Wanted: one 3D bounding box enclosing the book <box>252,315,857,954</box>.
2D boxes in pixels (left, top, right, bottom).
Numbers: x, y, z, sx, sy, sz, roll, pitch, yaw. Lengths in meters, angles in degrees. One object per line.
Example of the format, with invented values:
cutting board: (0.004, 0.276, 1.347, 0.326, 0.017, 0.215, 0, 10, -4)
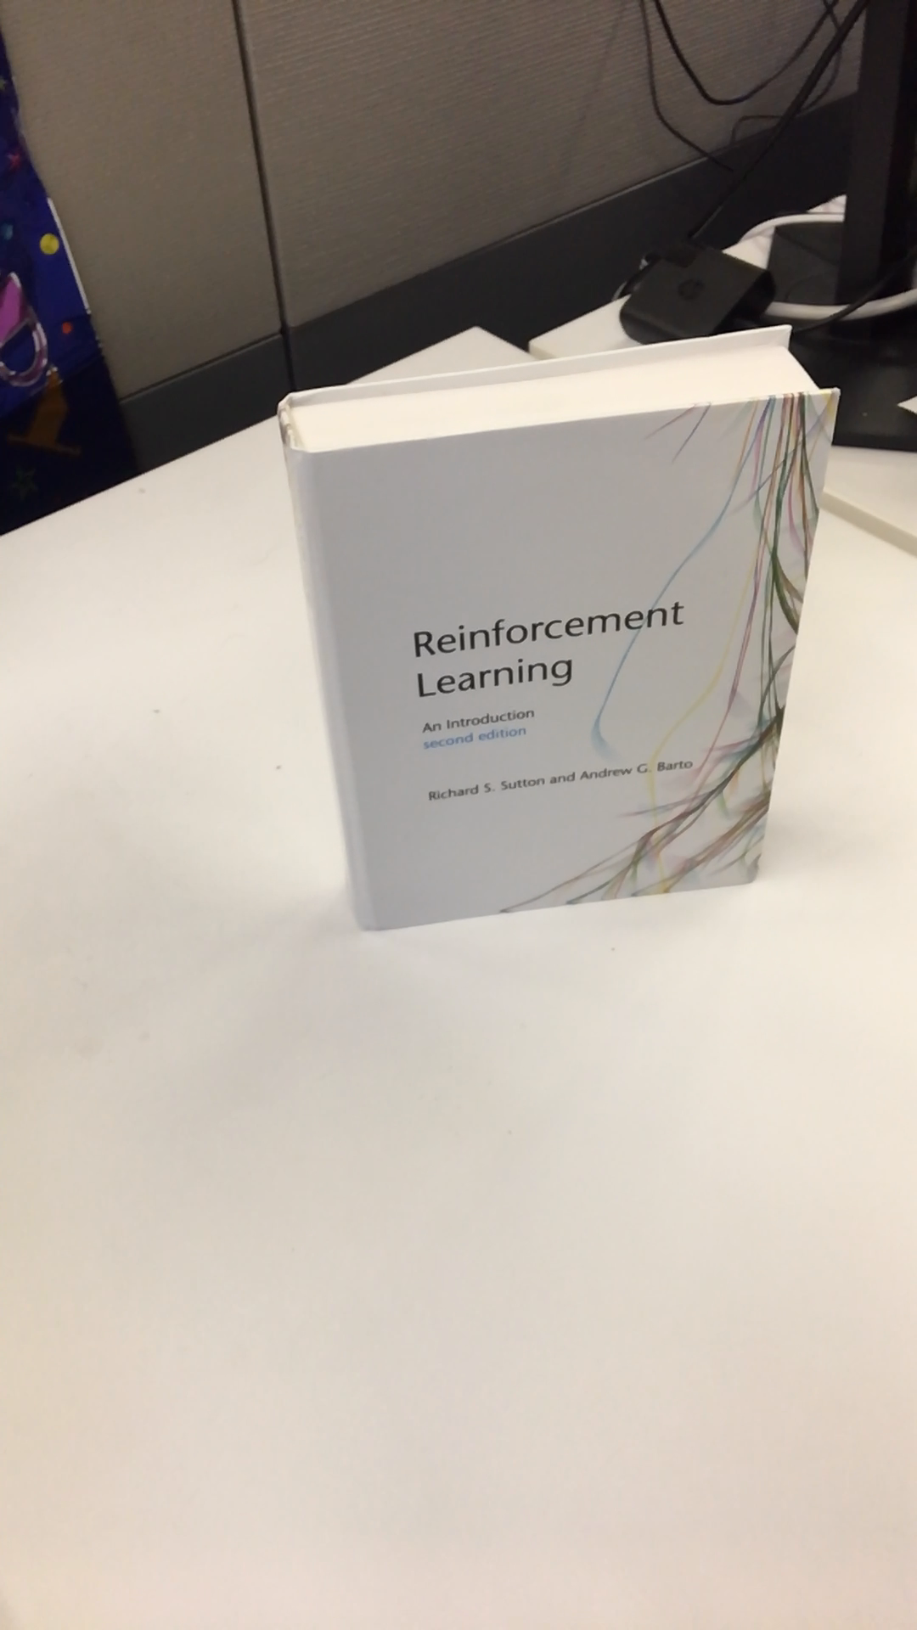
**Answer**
book: (0.032, -0.053, 0.506, 0.180, 0.230, 0.050, -9, 47, -5)
